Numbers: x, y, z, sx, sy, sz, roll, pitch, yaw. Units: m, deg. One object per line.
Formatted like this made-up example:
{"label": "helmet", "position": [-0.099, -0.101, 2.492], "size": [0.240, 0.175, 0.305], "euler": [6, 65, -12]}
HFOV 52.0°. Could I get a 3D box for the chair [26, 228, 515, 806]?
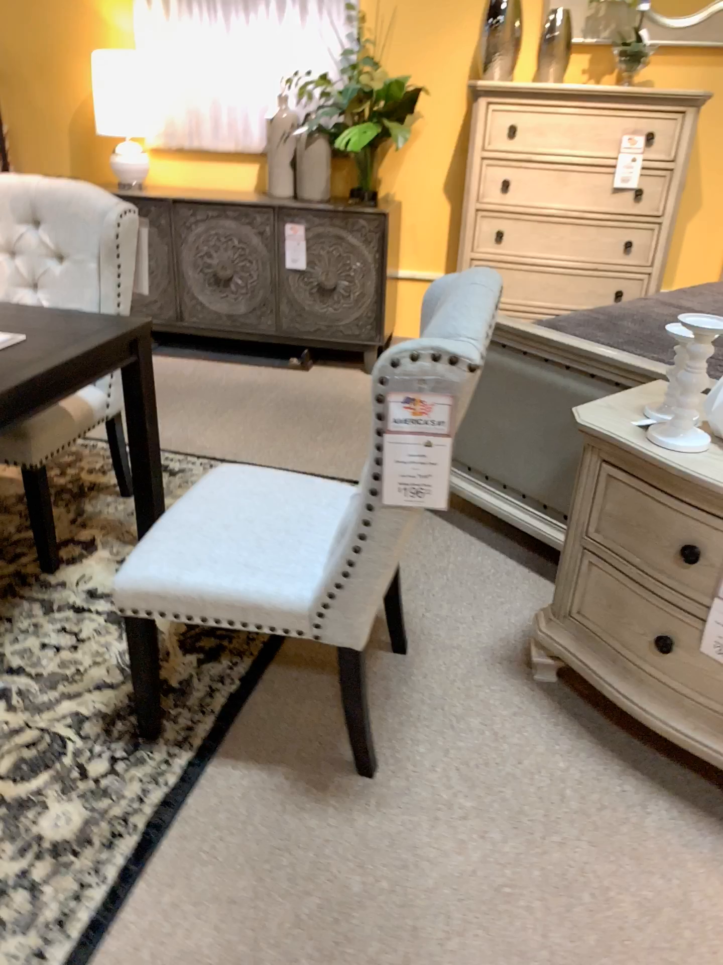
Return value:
{"label": "chair", "position": [-0.124, 0.031, 1.589], "size": [0.741, 0.973, 0.590], "euler": [8, 27, 11]}
